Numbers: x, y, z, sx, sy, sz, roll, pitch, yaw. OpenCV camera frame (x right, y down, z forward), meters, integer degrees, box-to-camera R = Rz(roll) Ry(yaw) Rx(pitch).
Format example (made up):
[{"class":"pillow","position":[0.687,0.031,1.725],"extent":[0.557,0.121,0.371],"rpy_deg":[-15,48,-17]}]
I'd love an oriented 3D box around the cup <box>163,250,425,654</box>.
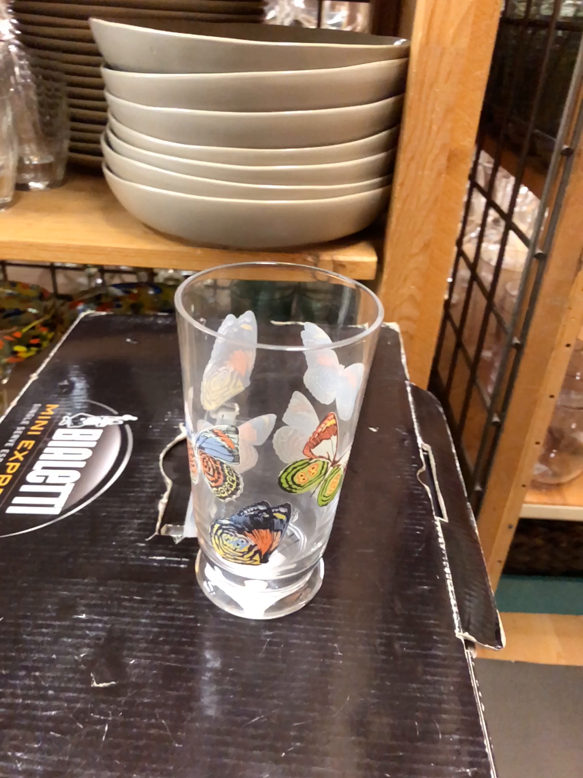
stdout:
[{"class":"cup","position":[0.000,0.023,0.249],"extent":[0.074,0.125,0.079],"rpy_deg":[3,31,-2]}]
